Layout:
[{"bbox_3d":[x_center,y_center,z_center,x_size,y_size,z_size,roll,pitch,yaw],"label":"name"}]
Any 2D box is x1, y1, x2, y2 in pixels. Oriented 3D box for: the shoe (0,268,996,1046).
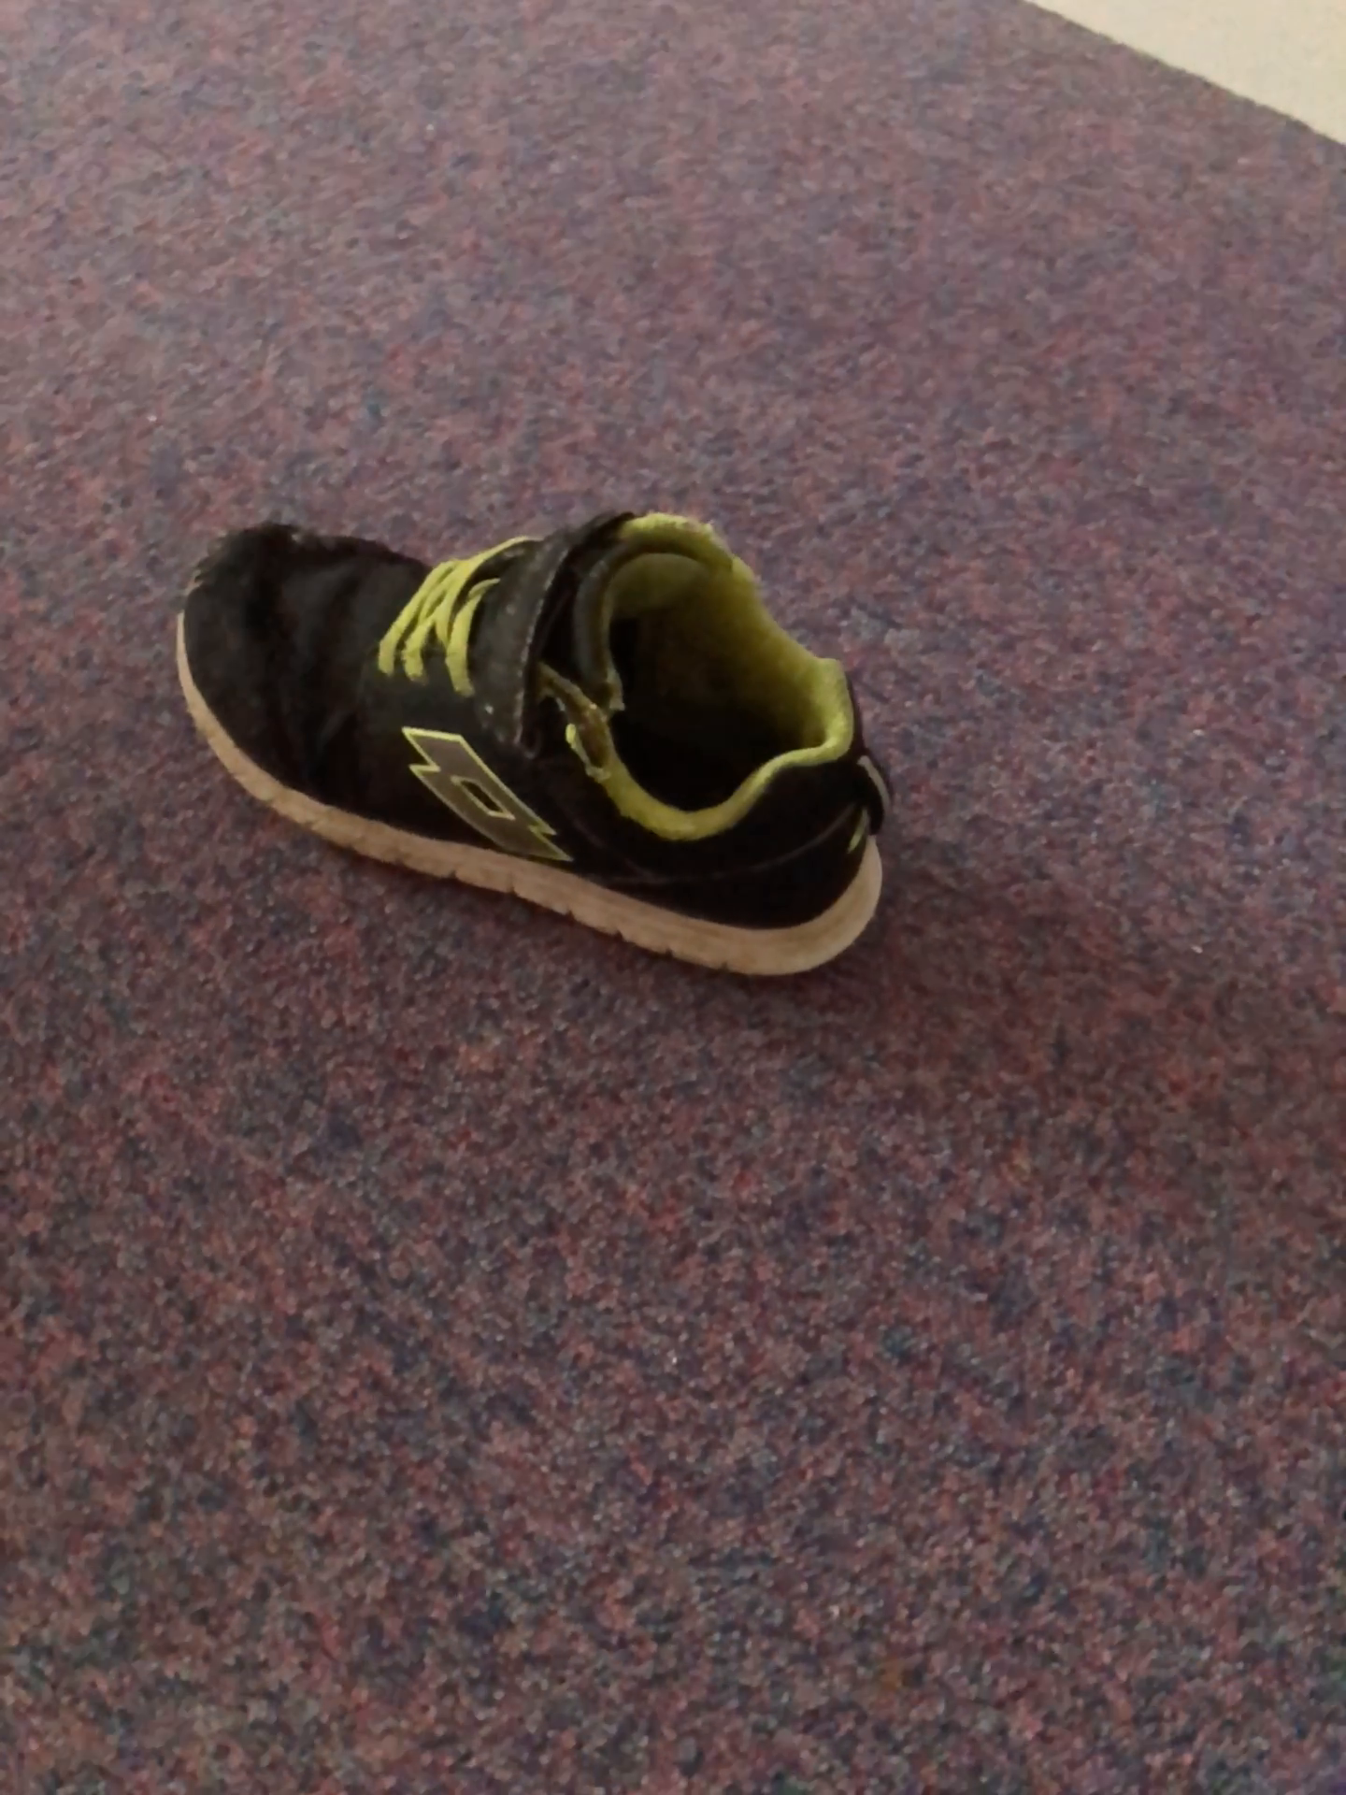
[{"bbox_3d":[-0.046,-0.062,0.385,0.220,0.100,0.090,21,58,8],"label":"shoe"}]
